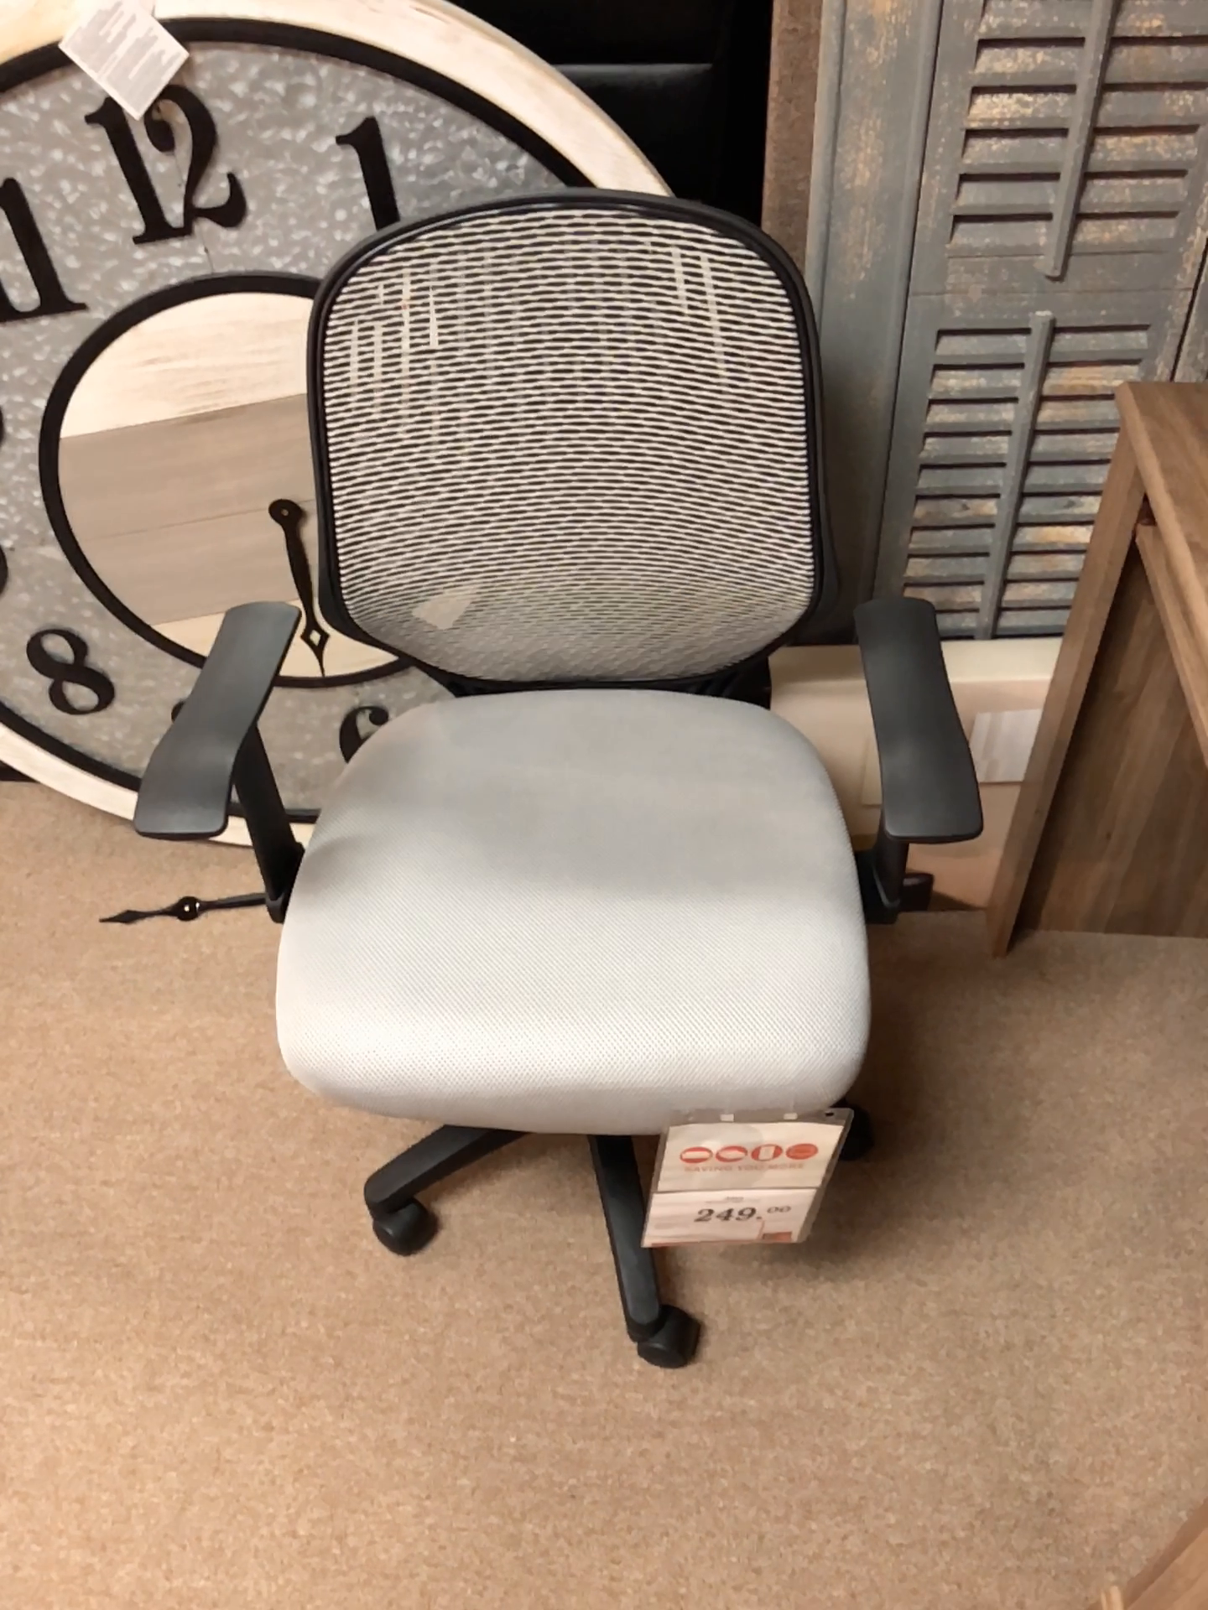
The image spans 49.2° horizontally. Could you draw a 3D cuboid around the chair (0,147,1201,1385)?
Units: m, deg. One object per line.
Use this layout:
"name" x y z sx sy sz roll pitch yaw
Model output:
"chair" -0.012 0.000 1.177 0.610 0.864 0.674 -1 45 1
